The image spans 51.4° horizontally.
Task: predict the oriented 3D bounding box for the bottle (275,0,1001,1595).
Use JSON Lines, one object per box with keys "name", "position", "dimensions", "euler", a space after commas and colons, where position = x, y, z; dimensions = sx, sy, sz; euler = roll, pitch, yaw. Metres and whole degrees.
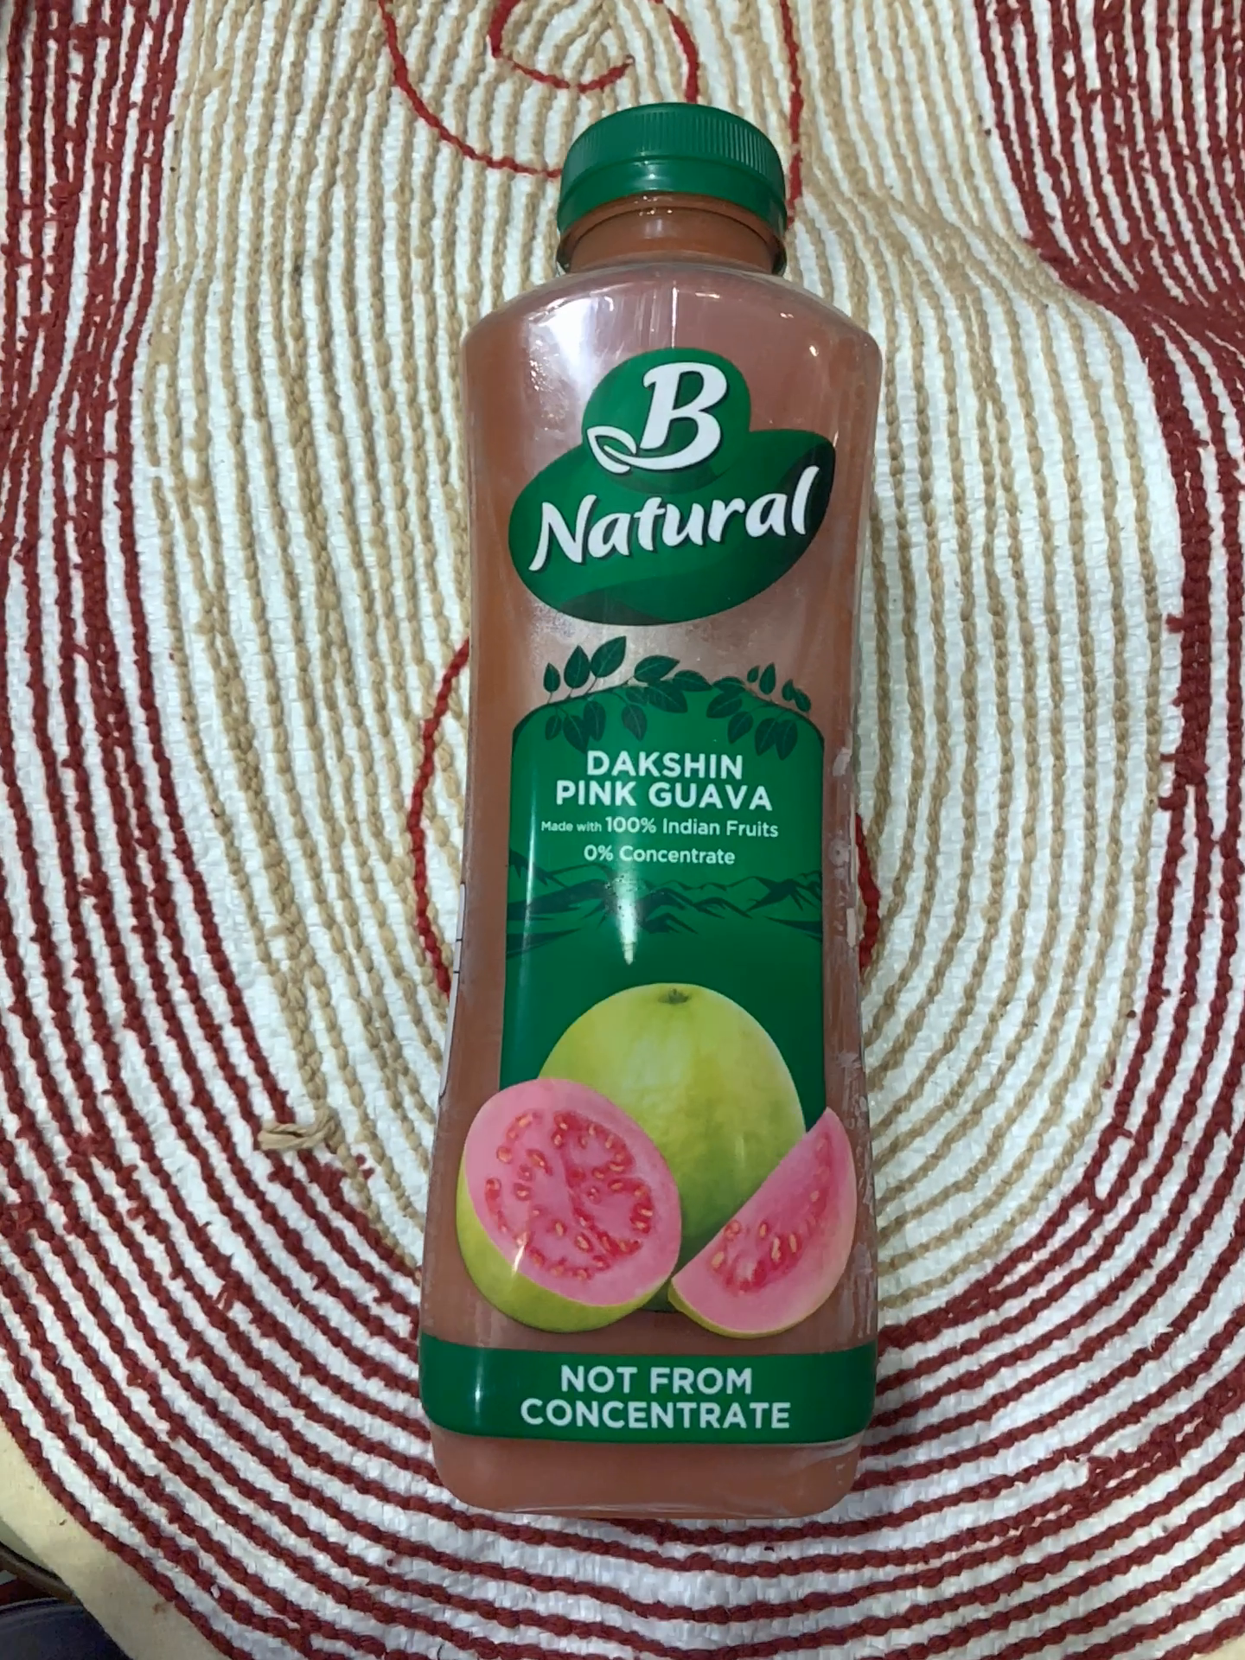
{"name": "bottle", "position": [0.005, -0.017, 0.186], "dimensions": [0.080, 0.060, 0.210], "euler": [2, 85, 0]}
